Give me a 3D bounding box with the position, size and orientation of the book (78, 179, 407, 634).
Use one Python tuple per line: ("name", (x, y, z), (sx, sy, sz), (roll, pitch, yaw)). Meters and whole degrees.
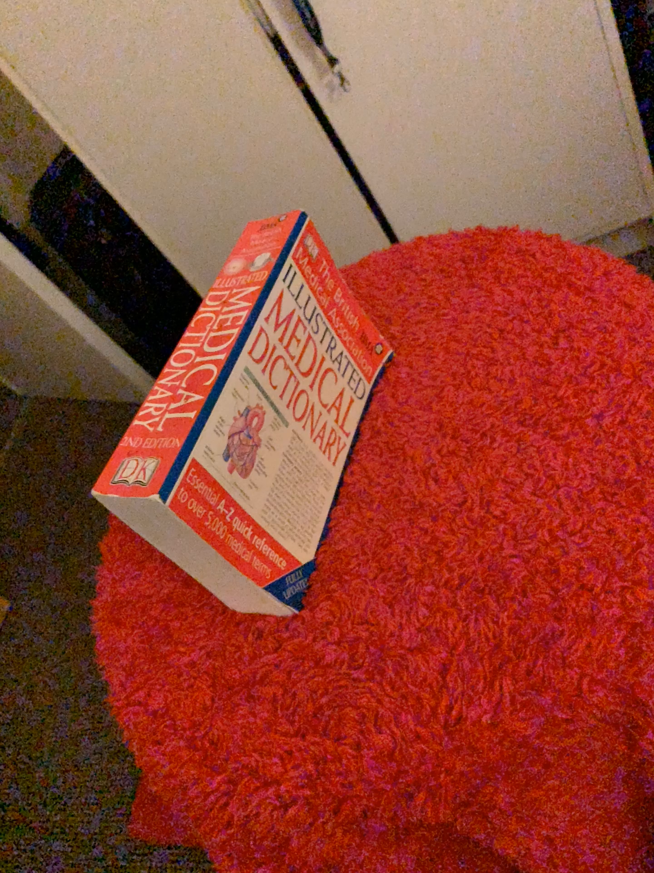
("book", (-0.028, -0.021, 0.390), (0.050, 0.129, 0.221), (0, 53, 32))
